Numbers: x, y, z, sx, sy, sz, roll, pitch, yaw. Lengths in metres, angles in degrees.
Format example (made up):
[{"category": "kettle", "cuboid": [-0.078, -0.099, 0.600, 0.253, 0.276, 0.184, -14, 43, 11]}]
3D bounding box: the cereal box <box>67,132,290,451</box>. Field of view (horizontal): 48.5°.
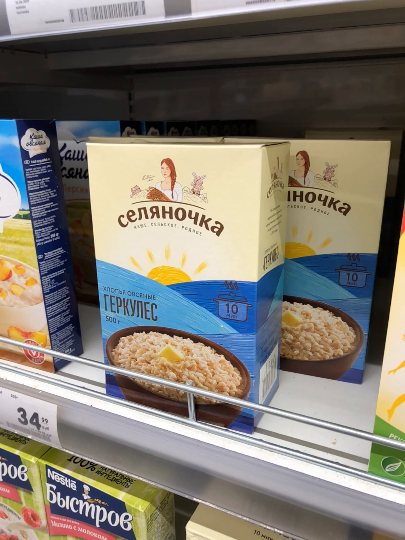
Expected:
[{"category": "cereal box", "cuboid": [-0.014, 0.007, 0.319, 0.130, 0.199, 0.060, 8, 20, 25]}]
